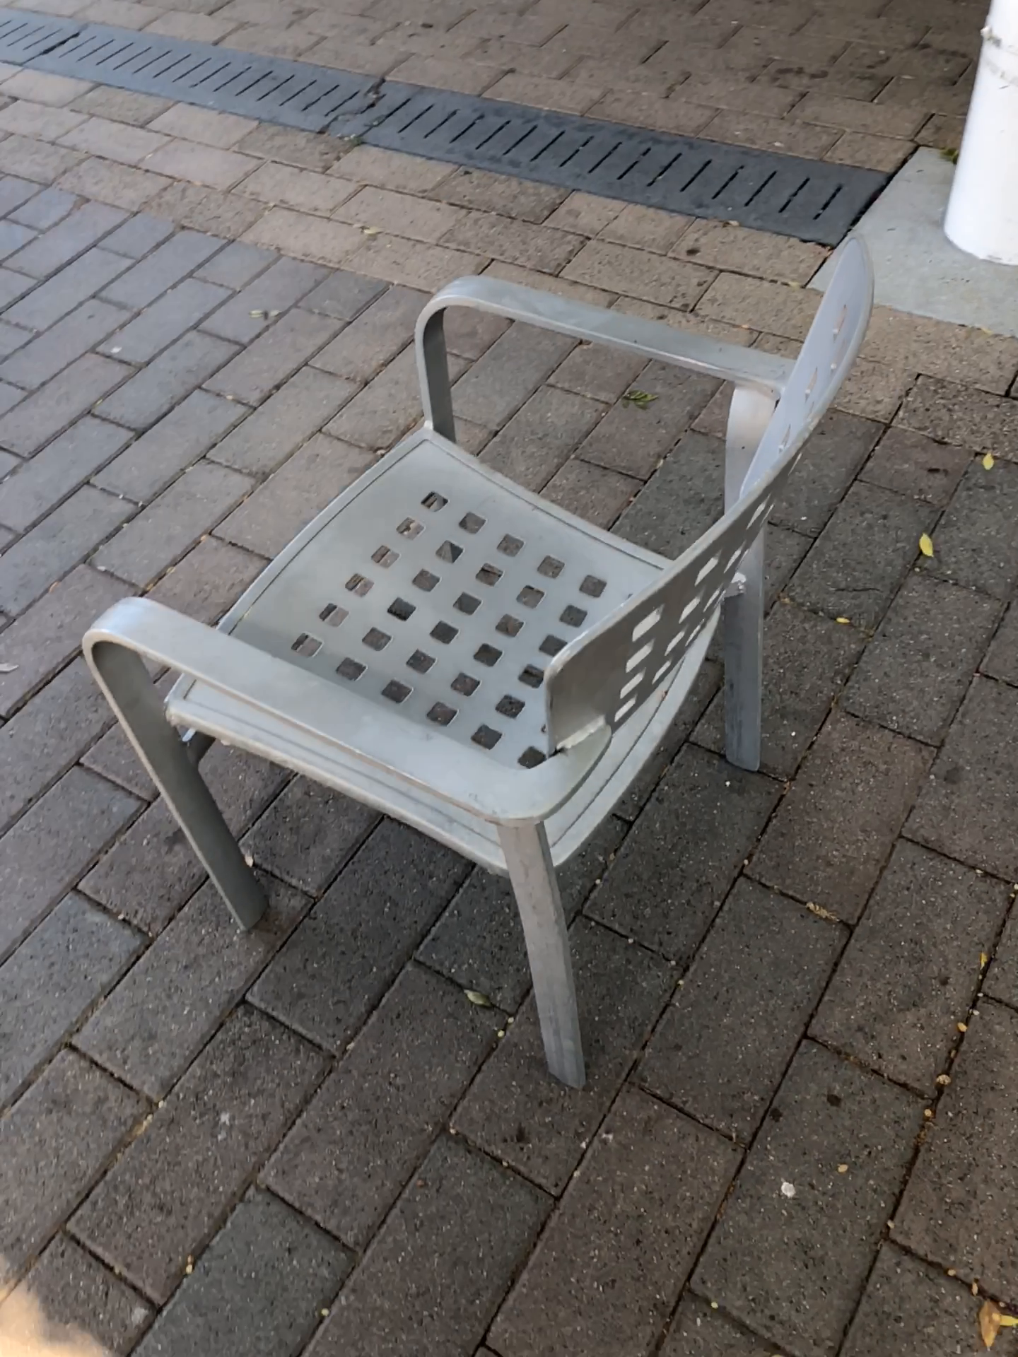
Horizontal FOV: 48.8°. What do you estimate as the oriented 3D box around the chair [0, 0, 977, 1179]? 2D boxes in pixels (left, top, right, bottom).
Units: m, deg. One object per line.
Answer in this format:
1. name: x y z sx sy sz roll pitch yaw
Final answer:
1. chair: -0.046 -0.070 1.078 0.591 0.777 0.631 23 57 20
